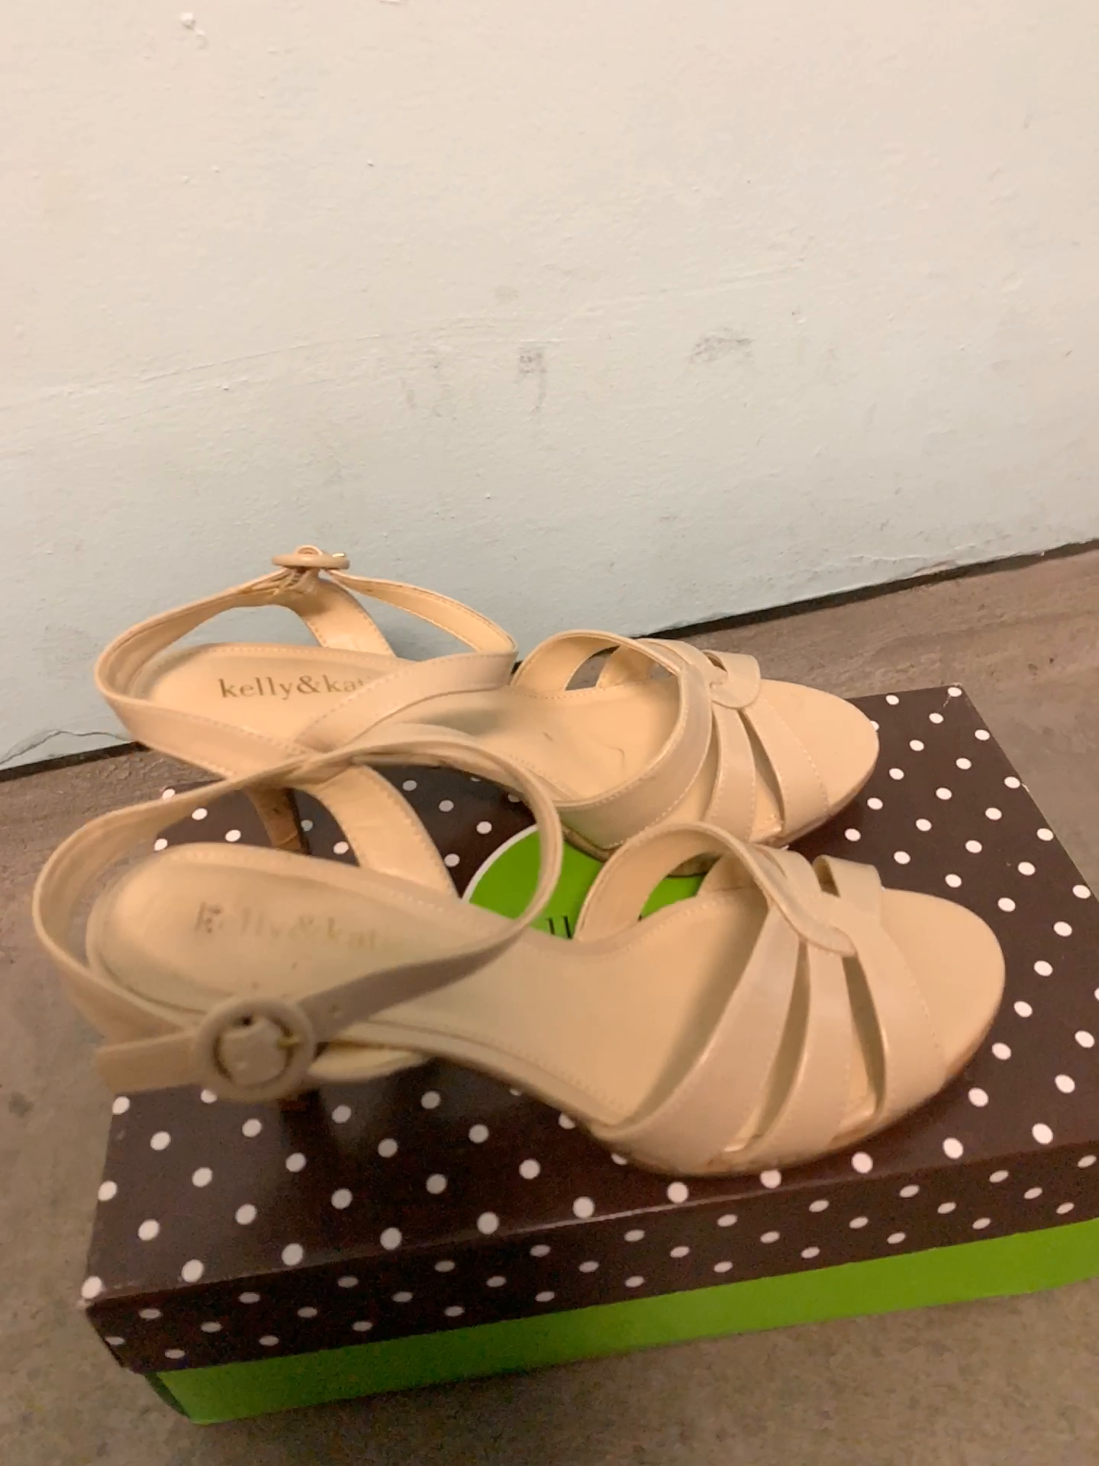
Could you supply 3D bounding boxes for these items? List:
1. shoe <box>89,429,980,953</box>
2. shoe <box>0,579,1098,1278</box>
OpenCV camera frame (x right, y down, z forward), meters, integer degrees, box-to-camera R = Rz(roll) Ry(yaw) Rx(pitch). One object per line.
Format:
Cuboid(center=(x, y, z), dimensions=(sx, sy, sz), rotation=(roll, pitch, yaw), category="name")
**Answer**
Cuboid(center=(-0.005, -0.016, 0.375), dimensions=(0.240, 0.109, 0.101), rotation=(-7, 41, -3), category="shoe")
Cuboid(center=(0.005, 0.047, 0.288), dimensions=(0.240, 0.109, 0.101), rotation=(-7, 41, -3), category="shoe")
